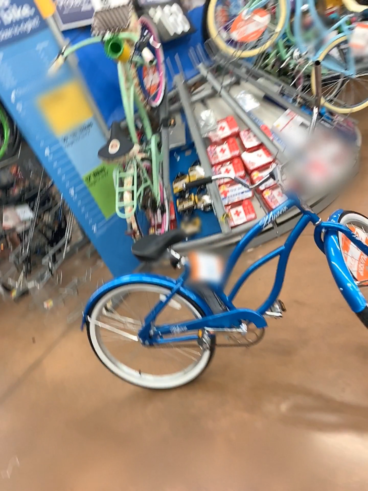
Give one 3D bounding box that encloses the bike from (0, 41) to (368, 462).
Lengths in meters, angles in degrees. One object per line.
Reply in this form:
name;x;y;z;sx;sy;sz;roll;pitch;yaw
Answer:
bike;0.125;-0.013;1.788;1.528;1.209;0.877;-21;26;6
